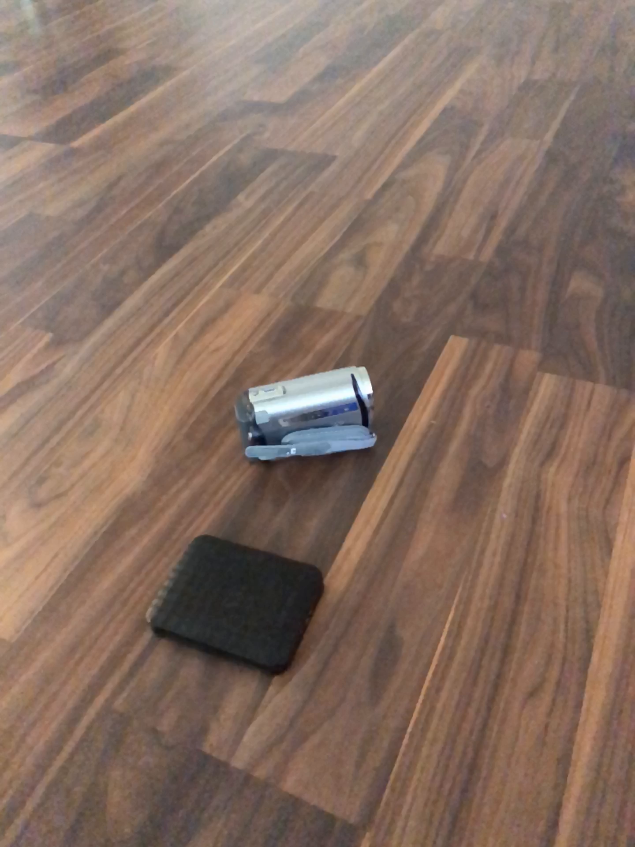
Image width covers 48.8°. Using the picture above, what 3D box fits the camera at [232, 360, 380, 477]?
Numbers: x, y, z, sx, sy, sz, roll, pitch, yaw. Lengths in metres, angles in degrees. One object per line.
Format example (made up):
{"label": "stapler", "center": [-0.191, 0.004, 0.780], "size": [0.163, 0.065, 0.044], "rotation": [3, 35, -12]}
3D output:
{"label": "camera", "center": [-0.009, -0.005, 0.604], "size": [0.115, 0.065, 0.048], "rotation": [-11, 43, -5]}
